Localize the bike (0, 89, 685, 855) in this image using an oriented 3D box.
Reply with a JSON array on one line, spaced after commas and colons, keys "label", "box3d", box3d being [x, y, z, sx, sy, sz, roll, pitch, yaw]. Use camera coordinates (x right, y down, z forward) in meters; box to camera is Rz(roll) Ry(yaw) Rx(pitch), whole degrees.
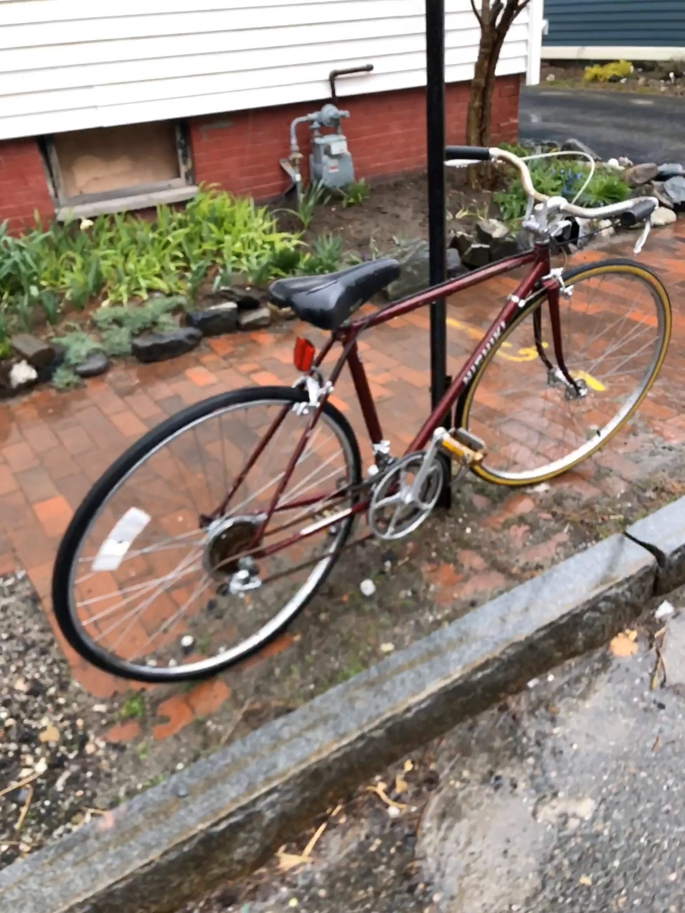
[{"label": "bike", "box3d": [0.227, -0.124, 1.554, 1.610, 0.907, 0.501, -23, 35, -27]}]
